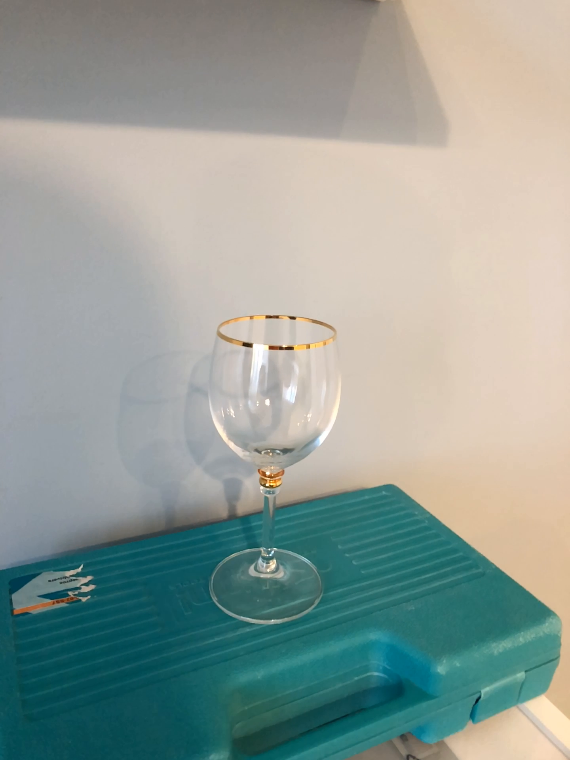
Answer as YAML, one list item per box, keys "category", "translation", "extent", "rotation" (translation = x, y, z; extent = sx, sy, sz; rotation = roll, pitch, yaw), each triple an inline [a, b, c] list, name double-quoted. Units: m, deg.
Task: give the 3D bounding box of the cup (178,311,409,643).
- category: "cup"
  translation: [-0.003, 0.050, 0.386]
  extent: [0.100, 0.159, 0.100]
  rotation: [3, 19, -1]
